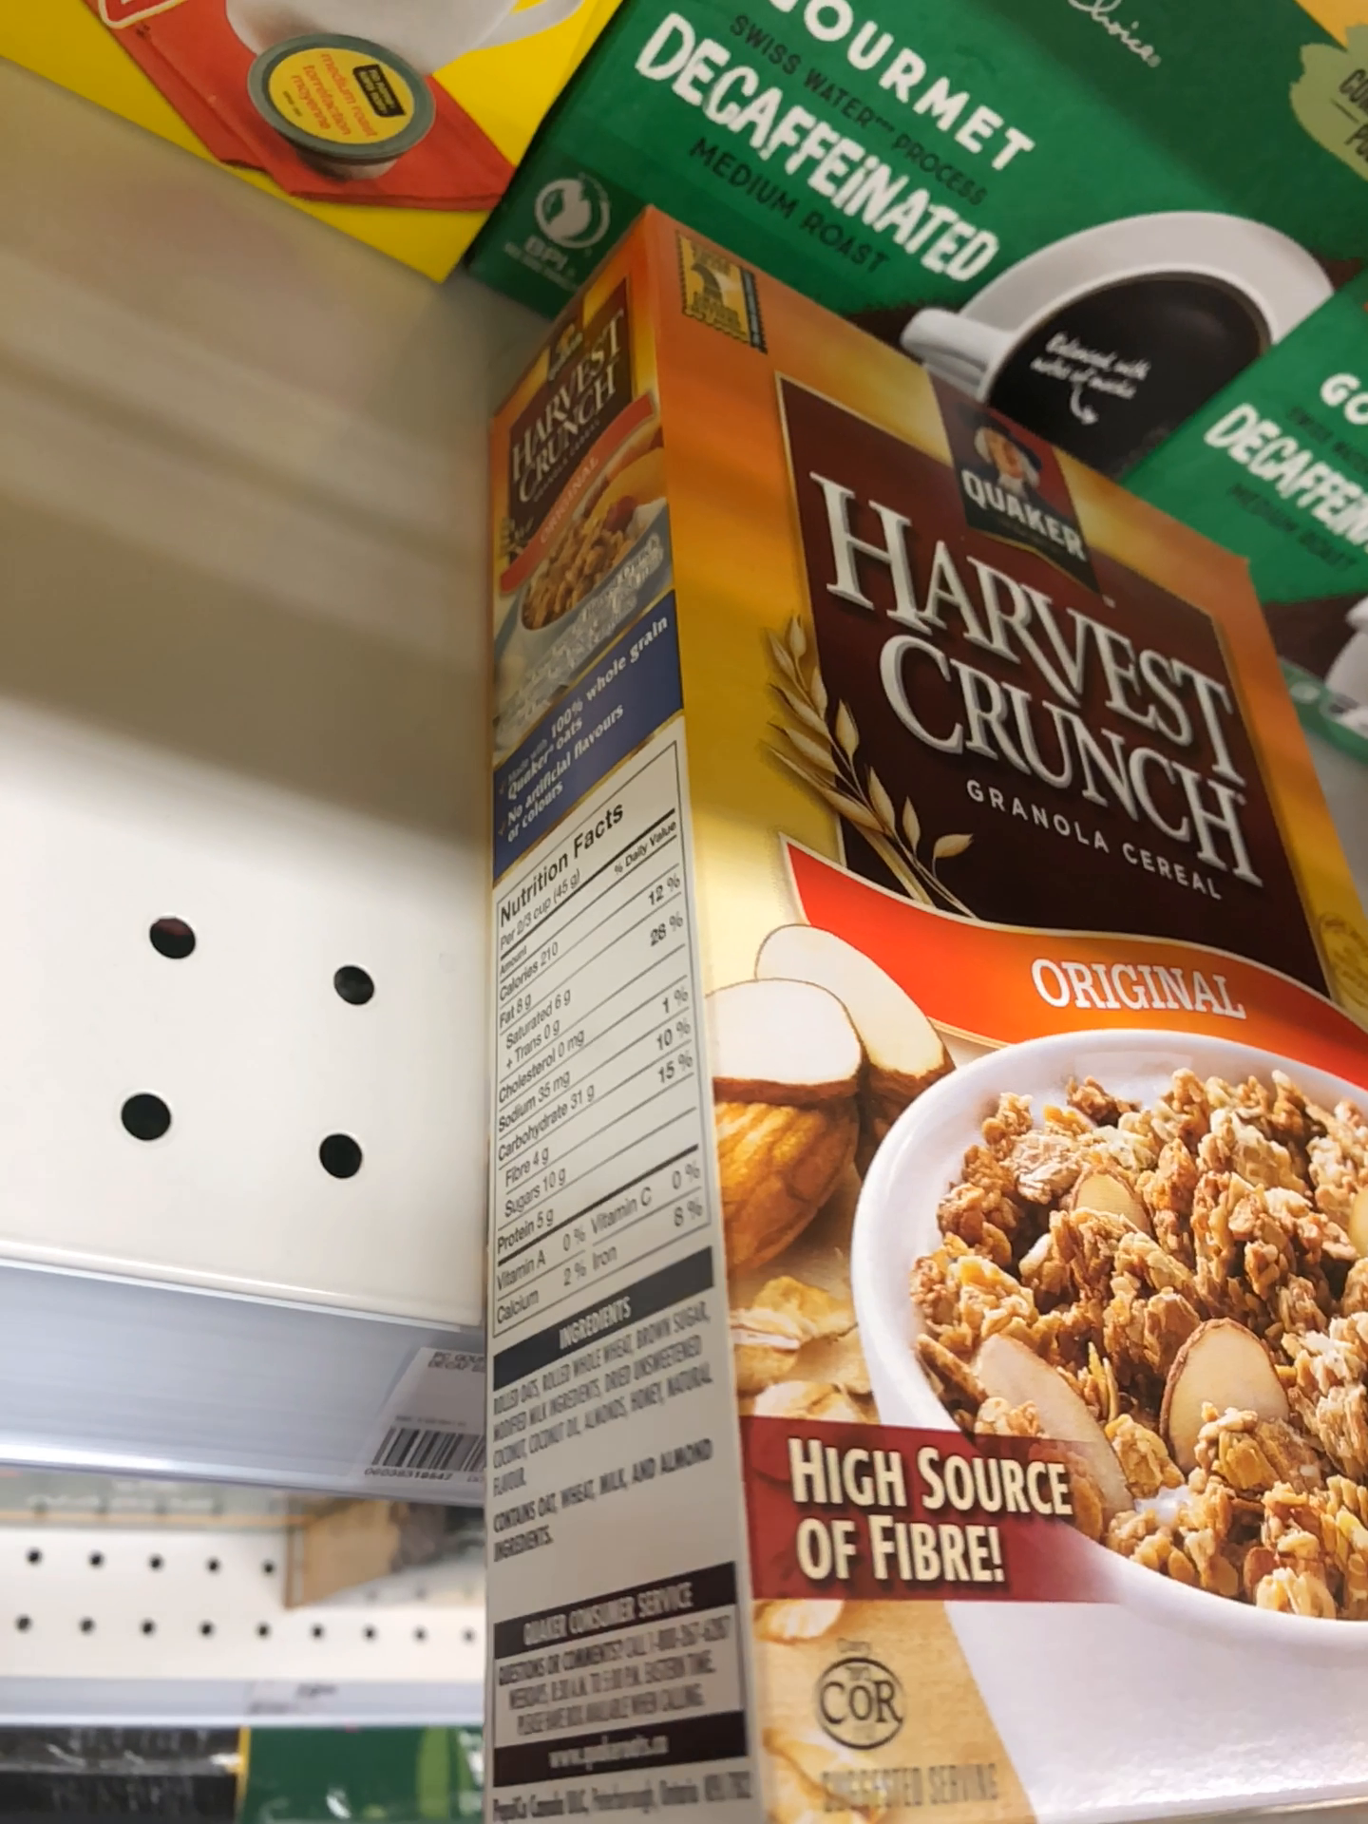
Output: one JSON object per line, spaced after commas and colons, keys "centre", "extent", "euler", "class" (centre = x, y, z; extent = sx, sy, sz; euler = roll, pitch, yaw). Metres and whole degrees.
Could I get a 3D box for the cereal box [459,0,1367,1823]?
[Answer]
{"centre": [0.051, -0.007, 0.253], "extent": [0.171, 0.050, 0.280], "euler": [17, 53, -32], "class": "cereal box"}
